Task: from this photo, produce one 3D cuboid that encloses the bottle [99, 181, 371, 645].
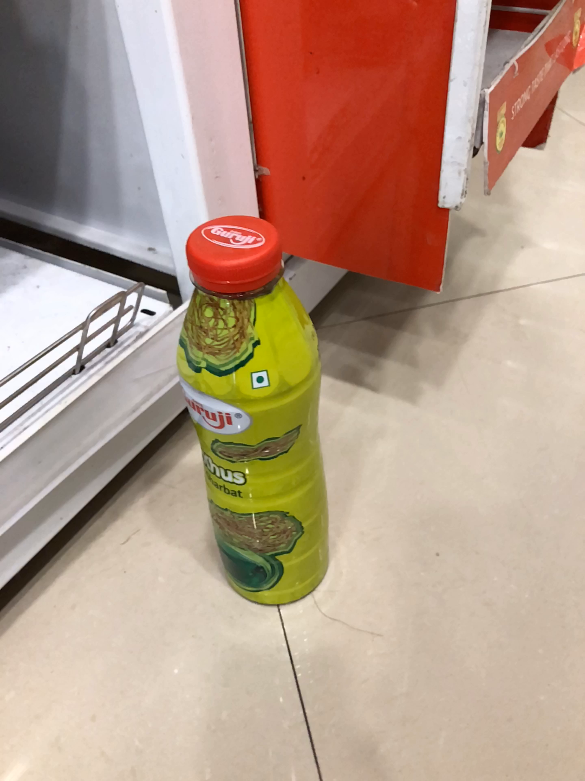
[{"bbox_3d":[-0.015,0.026,0.350,0.080,0.239,0.080,-3,43,3],"label":"bottle"}]
